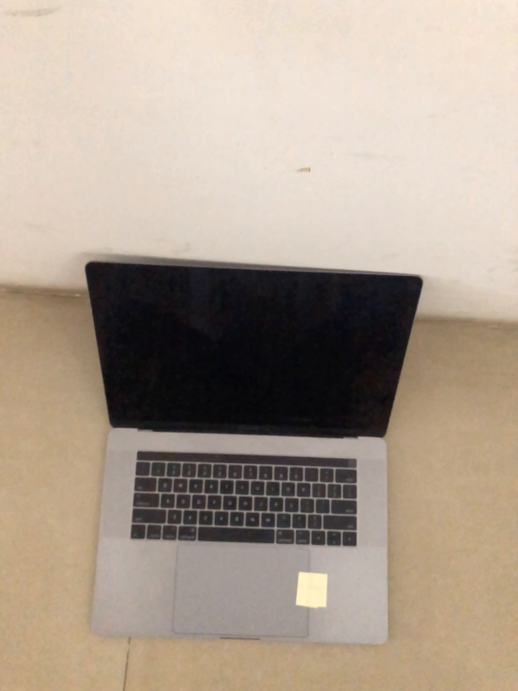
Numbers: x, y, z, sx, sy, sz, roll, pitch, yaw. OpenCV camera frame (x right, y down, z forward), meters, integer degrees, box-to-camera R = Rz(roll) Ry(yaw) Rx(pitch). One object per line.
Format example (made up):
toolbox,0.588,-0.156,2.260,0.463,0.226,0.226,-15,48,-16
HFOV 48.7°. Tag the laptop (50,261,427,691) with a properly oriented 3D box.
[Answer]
laptop,-0.012,0.127,0.612,0.329,0.163,0.380,2,80,-1
